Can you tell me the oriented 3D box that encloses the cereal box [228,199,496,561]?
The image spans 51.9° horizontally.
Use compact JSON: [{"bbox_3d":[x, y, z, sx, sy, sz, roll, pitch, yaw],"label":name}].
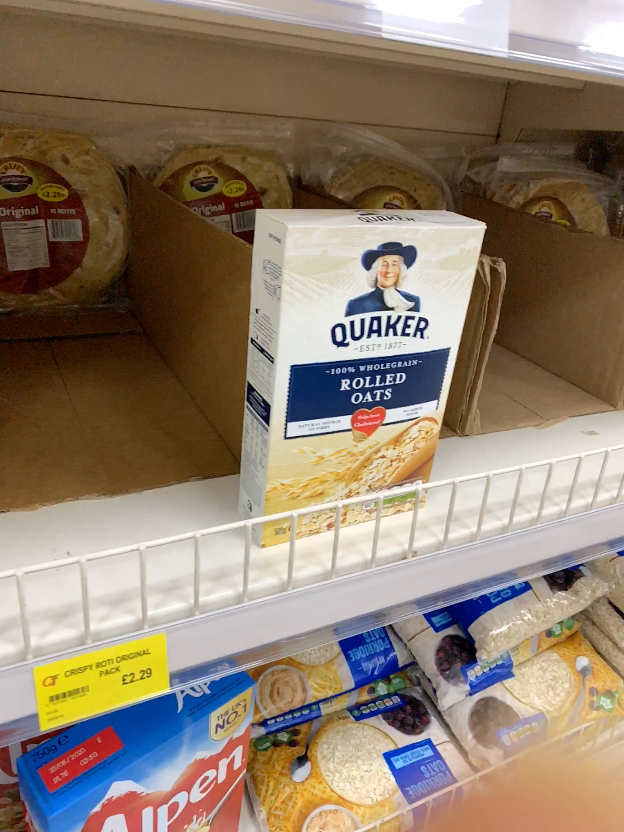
[{"bbox_3d":[0.027,-0.024,0.441,0.150,0.228,0.050,-8,30,-28],"label":"cereal box"}]
